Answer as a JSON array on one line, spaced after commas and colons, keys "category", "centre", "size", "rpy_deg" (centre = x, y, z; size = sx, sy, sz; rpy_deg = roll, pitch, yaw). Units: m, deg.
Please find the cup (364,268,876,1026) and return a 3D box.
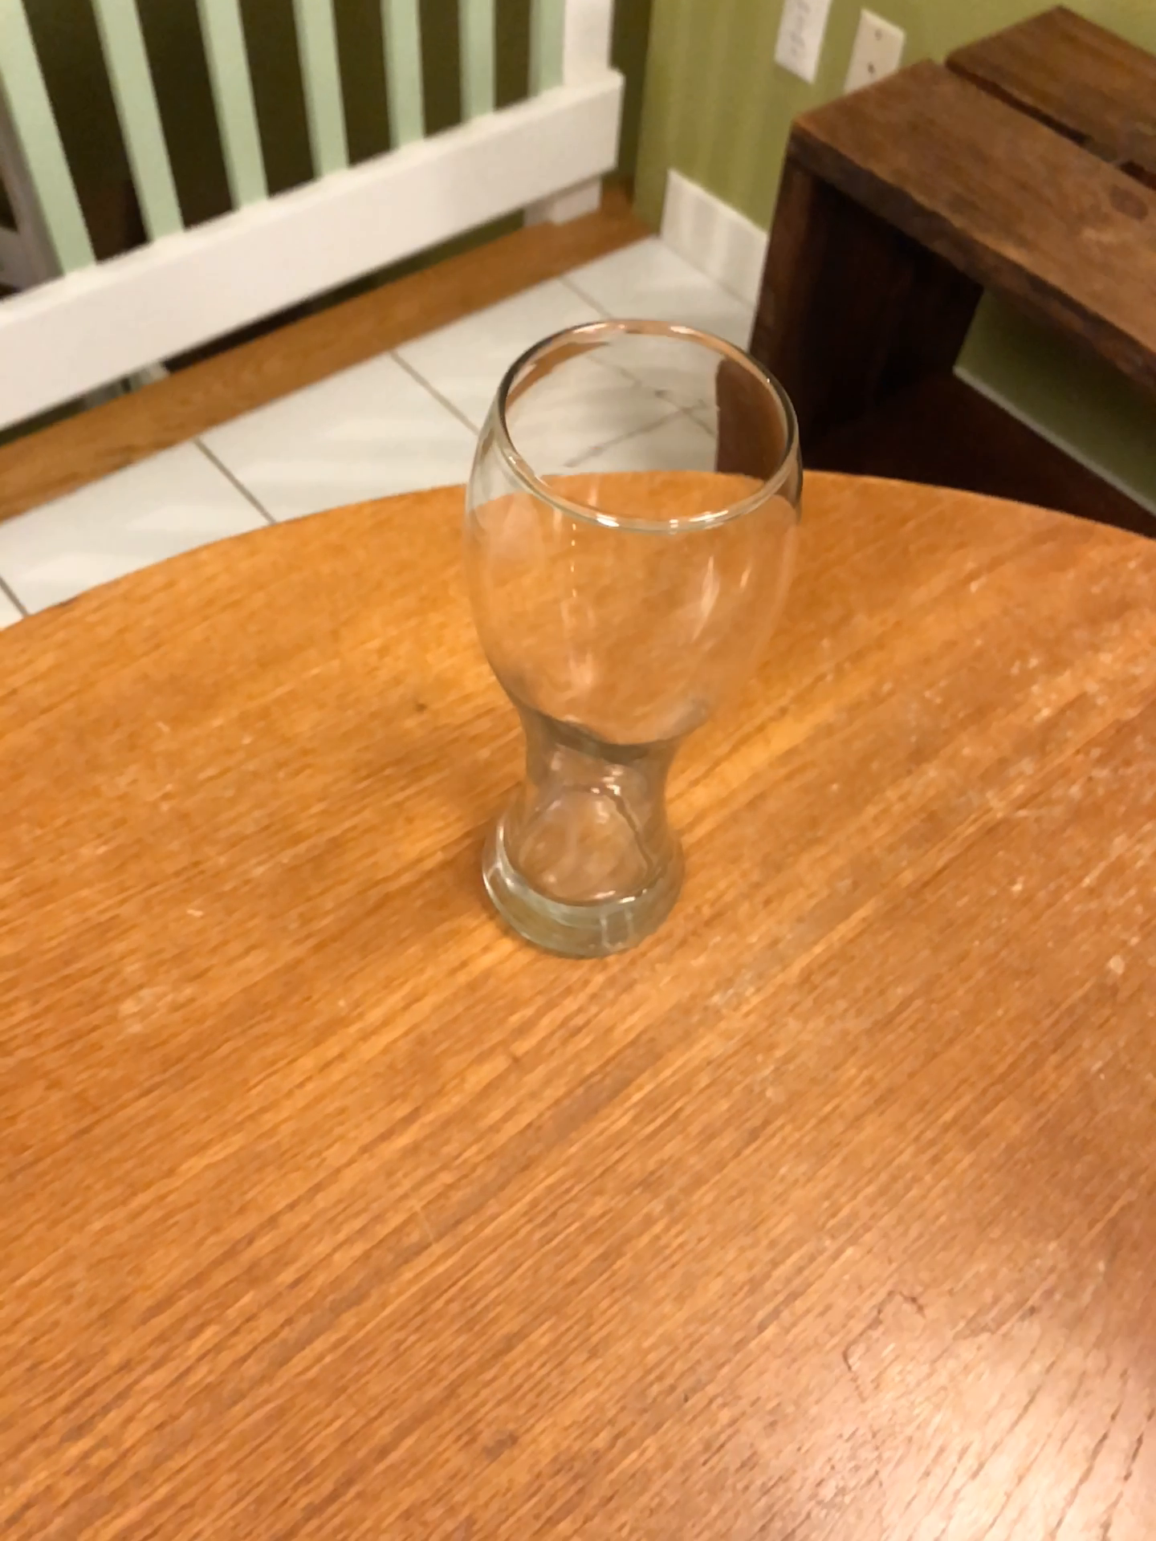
[{"category": "cup", "centre": [0.005, -0.022, 0.406], "size": [0.093, 0.222, 0.088], "rpy_deg": [2, 55, -3]}]
